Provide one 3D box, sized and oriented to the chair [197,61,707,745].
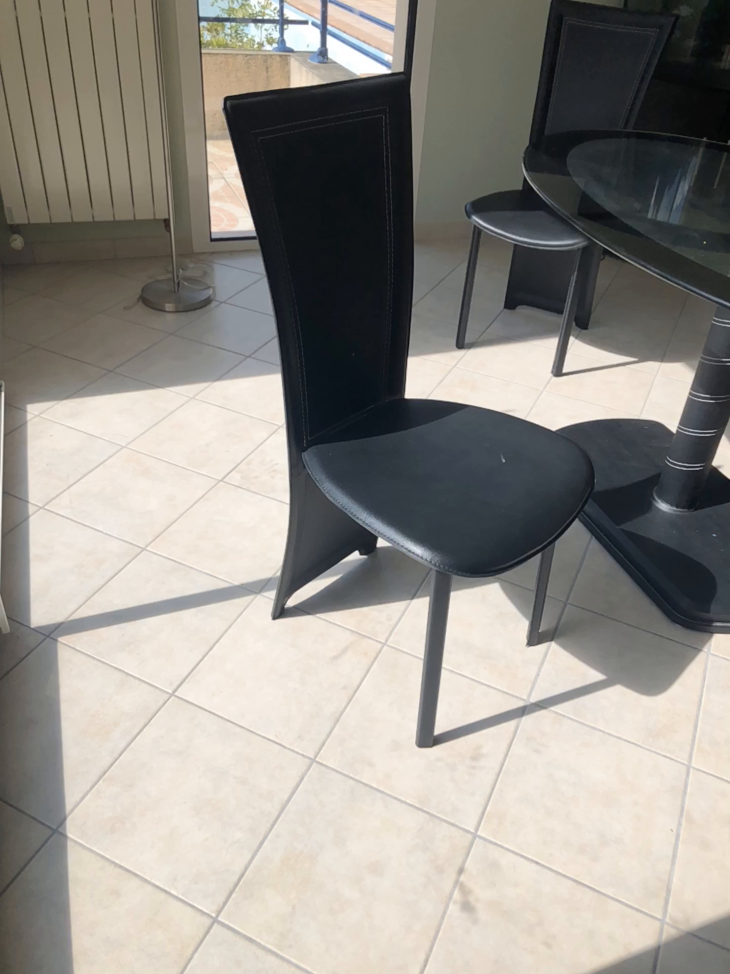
[{"bbox_3d":[0.102,-0.145,1.305,0.500,0.894,0.453,28,42,32],"label":"chair"}]
